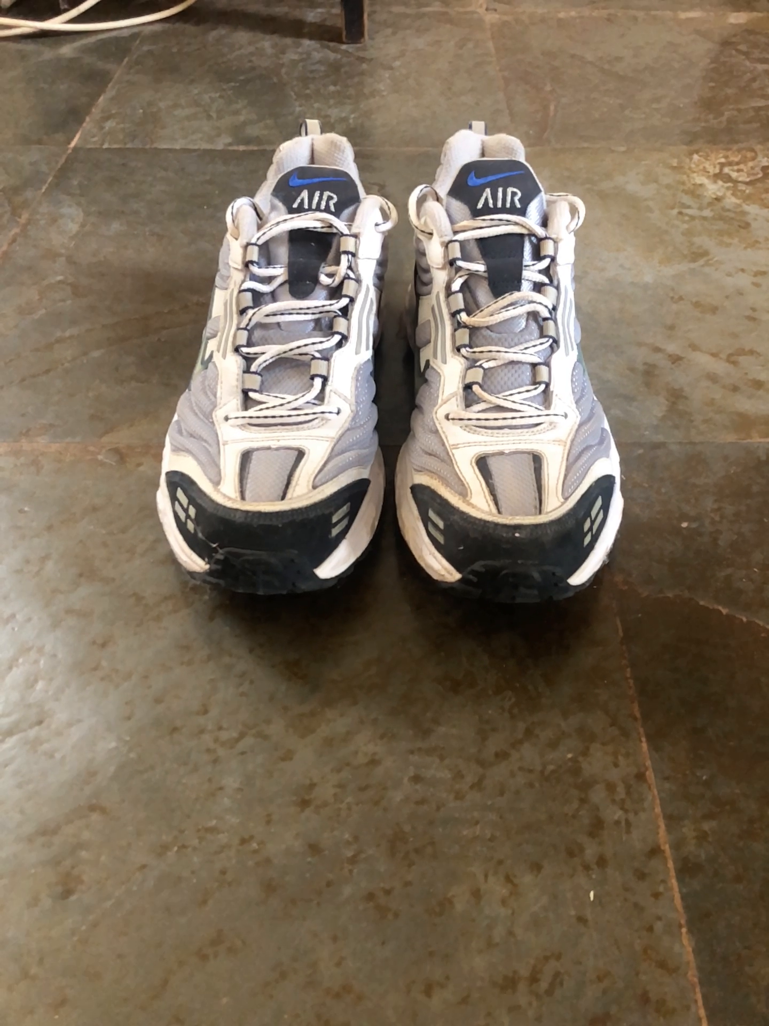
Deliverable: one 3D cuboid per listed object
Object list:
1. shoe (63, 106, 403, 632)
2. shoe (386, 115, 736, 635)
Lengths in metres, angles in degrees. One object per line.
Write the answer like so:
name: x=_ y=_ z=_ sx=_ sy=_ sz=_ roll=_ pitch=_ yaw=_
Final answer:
shoe: x=-0.049 y=-0.085 z=0.408 sx=0.110 sy=0.119 sz=0.262 roll=0 pitch=45 yaw=0
shoe: x=0.057 y=-0.081 z=0.401 sx=0.110 sy=0.109 sz=0.262 roll=0 pitch=45 yaw=0
